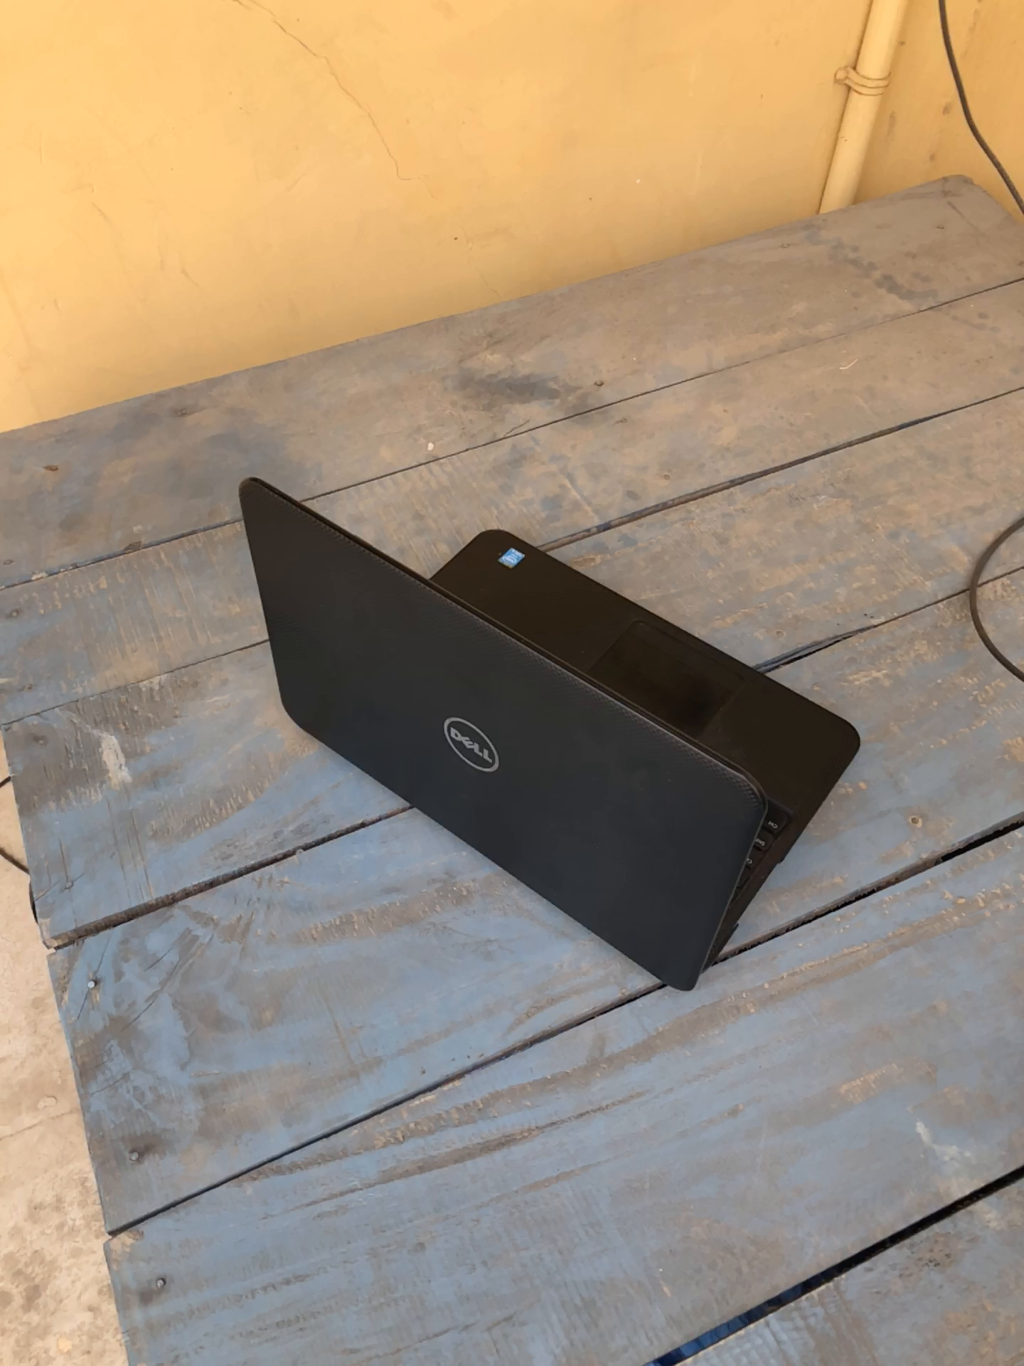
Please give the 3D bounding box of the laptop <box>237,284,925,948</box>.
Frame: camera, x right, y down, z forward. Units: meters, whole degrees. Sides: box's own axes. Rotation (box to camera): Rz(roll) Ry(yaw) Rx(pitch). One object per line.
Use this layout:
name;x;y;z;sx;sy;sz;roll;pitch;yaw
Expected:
laptop;0.038;-0.051;0.767;0.341;0.234;0.225;32;60;21
